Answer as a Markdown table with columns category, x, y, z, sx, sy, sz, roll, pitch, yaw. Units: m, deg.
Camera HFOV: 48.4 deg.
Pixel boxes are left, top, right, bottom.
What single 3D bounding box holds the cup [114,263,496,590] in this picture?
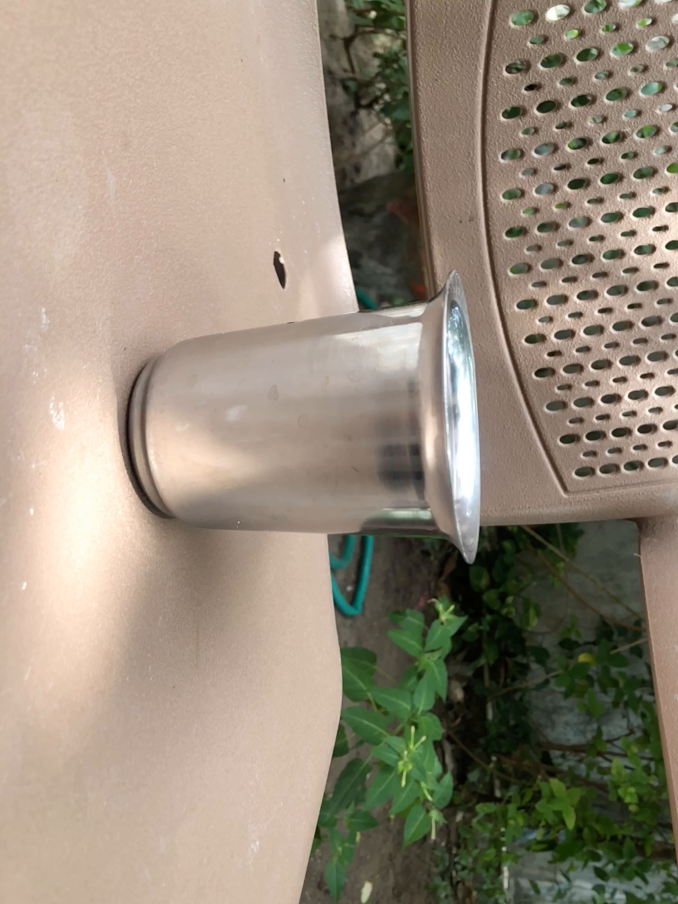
| category | x | y | z | sx | sy | sz | roll | pitch | yaw |
| --- | --- | --- | --- | --- | --- | --- | --- | --- | --- |
| cup | -0.002 | 0.000 | 0.239 | 0.091 | 0.089 | 0.080 | 31 | 60 | -69 |
